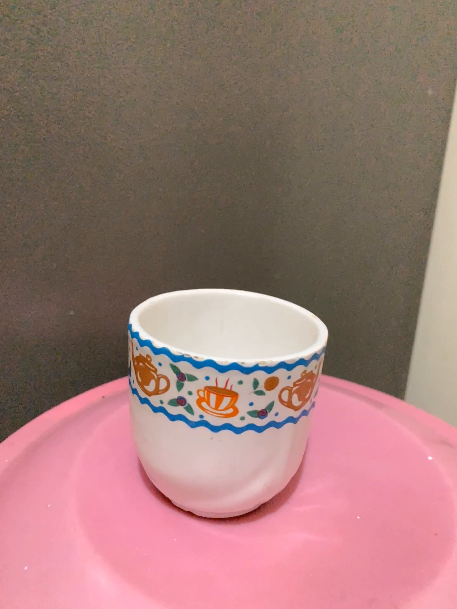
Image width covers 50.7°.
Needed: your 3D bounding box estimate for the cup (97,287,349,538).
[{"bbox_3d":[-0.005,0.033,0.175,0.070,0.060,0.070,3,16,-1],"label":"cup"}]
